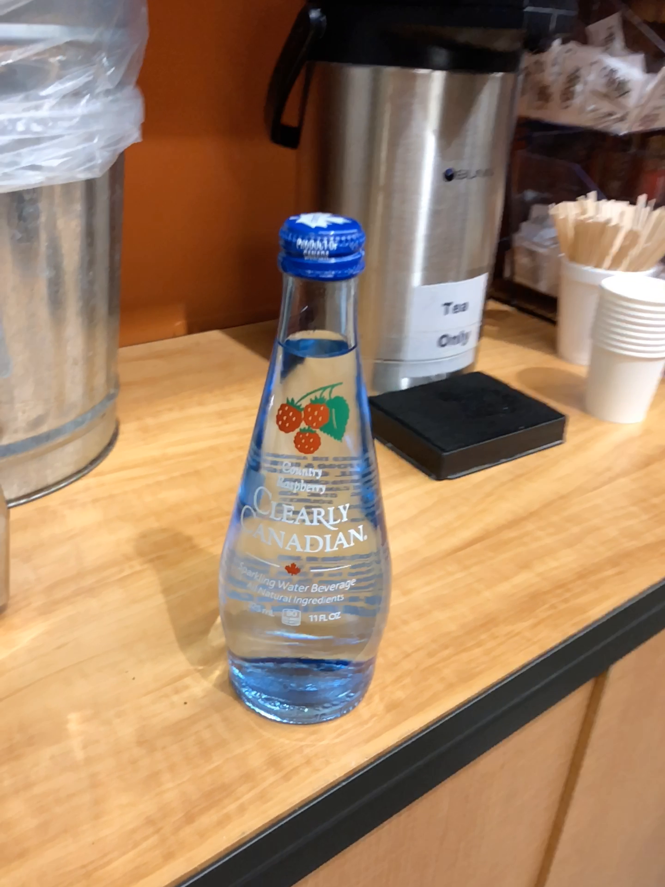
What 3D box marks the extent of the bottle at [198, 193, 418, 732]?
[{"bbox_3d":[-0.010,0.013,0.272,0.060,0.189,0.060,2,28,-1],"label":"bottle"}]
